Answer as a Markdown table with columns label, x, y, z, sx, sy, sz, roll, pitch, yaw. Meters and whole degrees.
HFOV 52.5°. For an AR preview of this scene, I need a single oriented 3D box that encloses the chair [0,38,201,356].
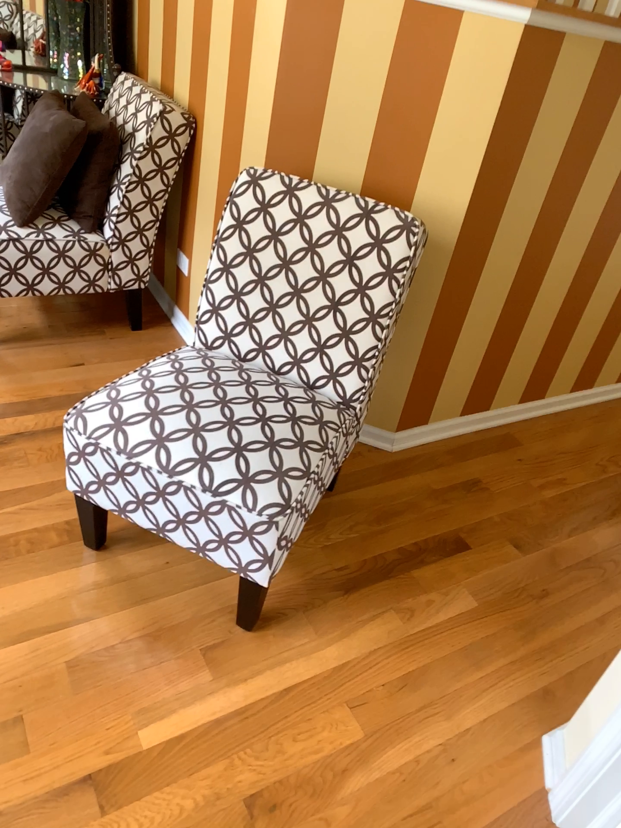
| label | x | y | z | sx | sy | sz | roll | pitch | yaw |
| --- | --- | --- | --- | --- | --- | --- | --- | --- | --- |
| chair | -0.911 | -0.760 | 2.246 | 0.798 | 0.834 | 0.594 | -10 | 39 | -30 |

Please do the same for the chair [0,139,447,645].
| label | x | y | z | sx | sy | sz | roll | pitch | yaw |
| --- | --- | --- | --- | --- | --- | --- | --- | --- | --- |
| chair | -0.179 | -0.121 | 1.466 | 0.622 | 0.774 | 0.741 | 22 | 34 | 17 |
